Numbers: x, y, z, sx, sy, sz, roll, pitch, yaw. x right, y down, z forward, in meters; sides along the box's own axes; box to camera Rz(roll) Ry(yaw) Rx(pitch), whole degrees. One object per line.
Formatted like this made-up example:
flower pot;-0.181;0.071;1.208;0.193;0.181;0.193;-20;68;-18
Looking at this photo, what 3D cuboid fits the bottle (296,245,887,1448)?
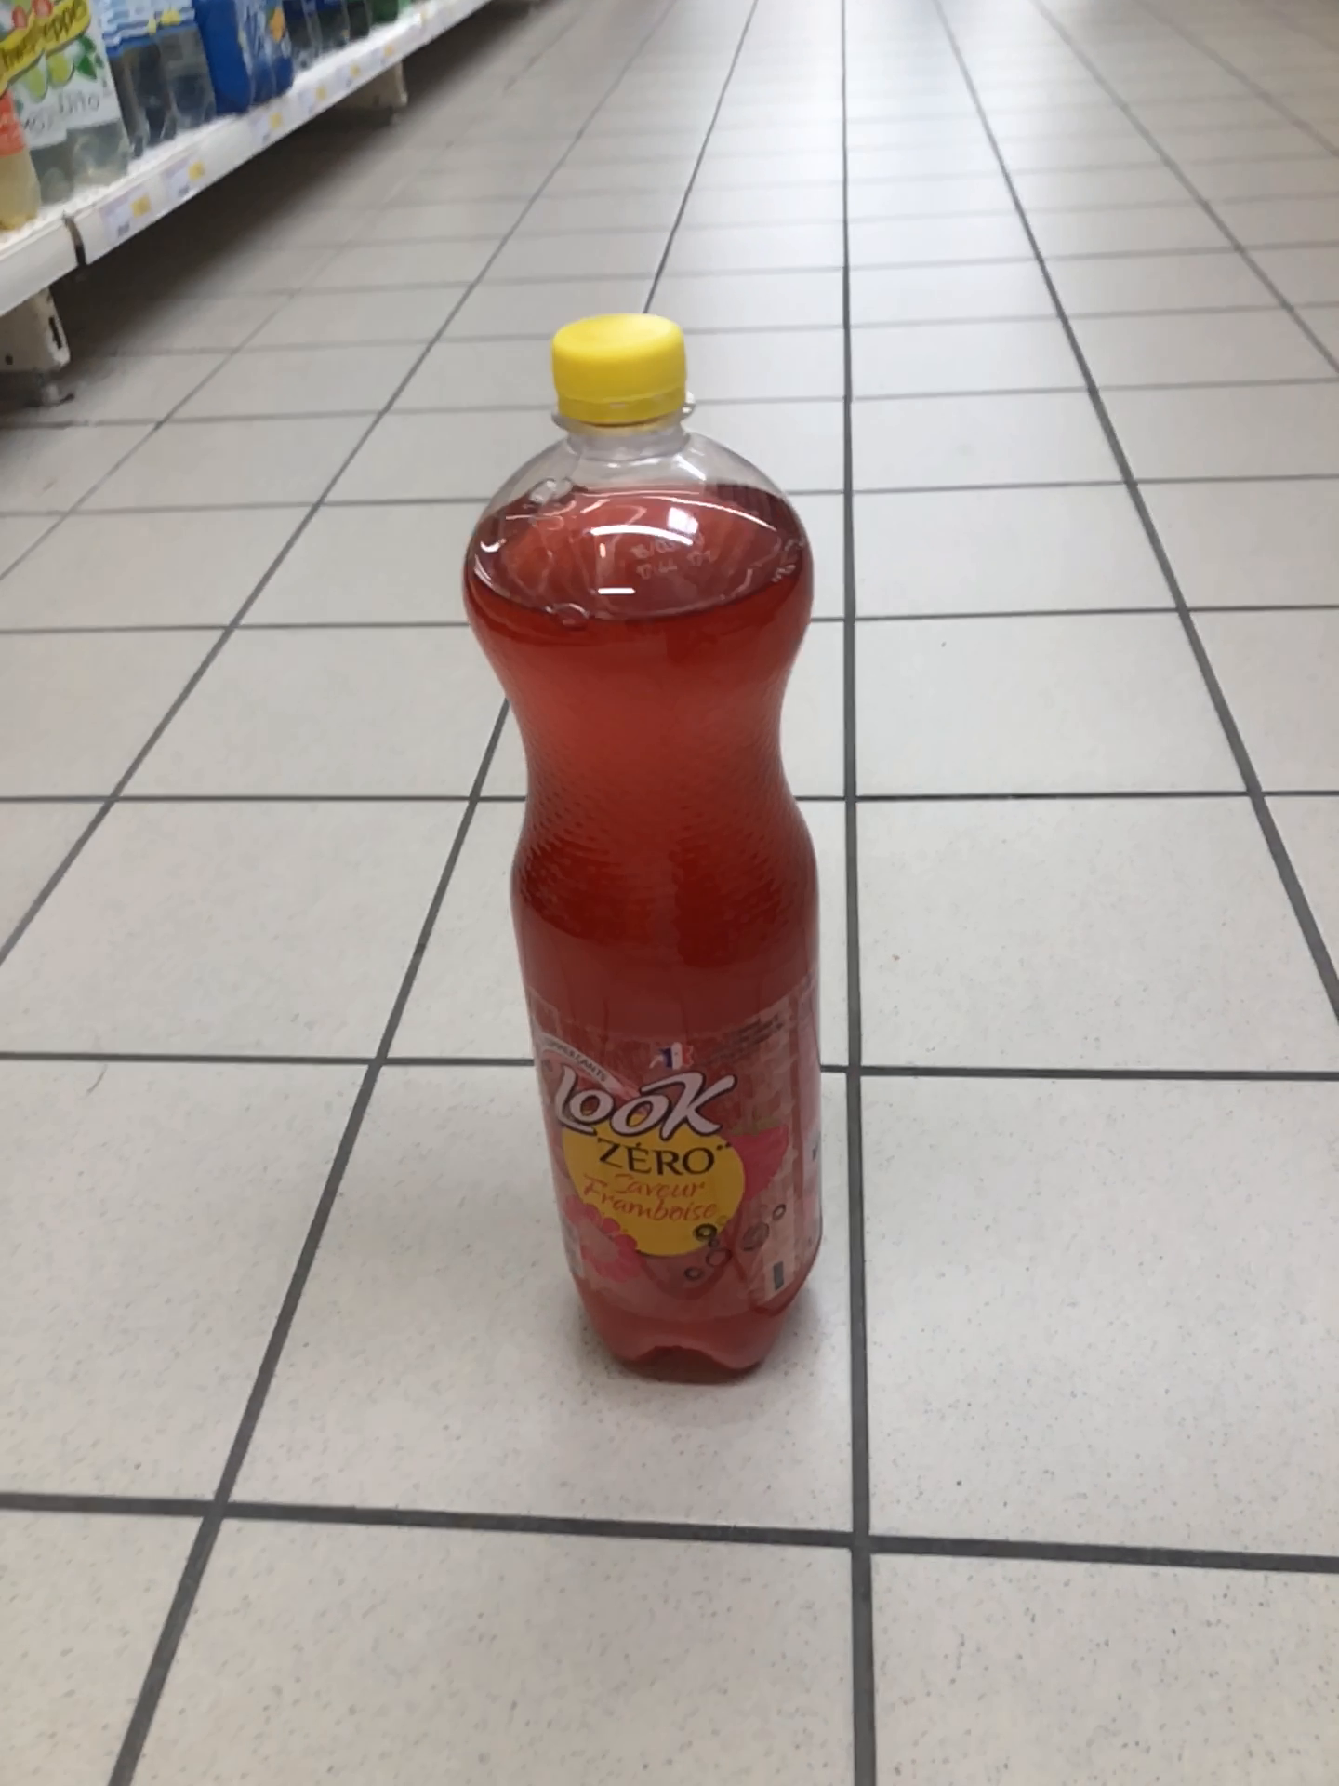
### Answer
bottle;-0.002;0.006;0.410;0.100;0.328;0.091;9;38;18
